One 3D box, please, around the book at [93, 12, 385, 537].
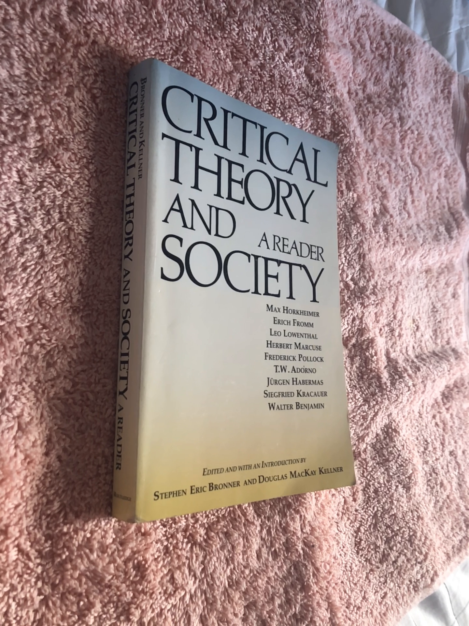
[{"bbox_3d":[0.013,-0.014,0.299,0.171,0.050,0.230,8,78,-43],"label":"book"}]
